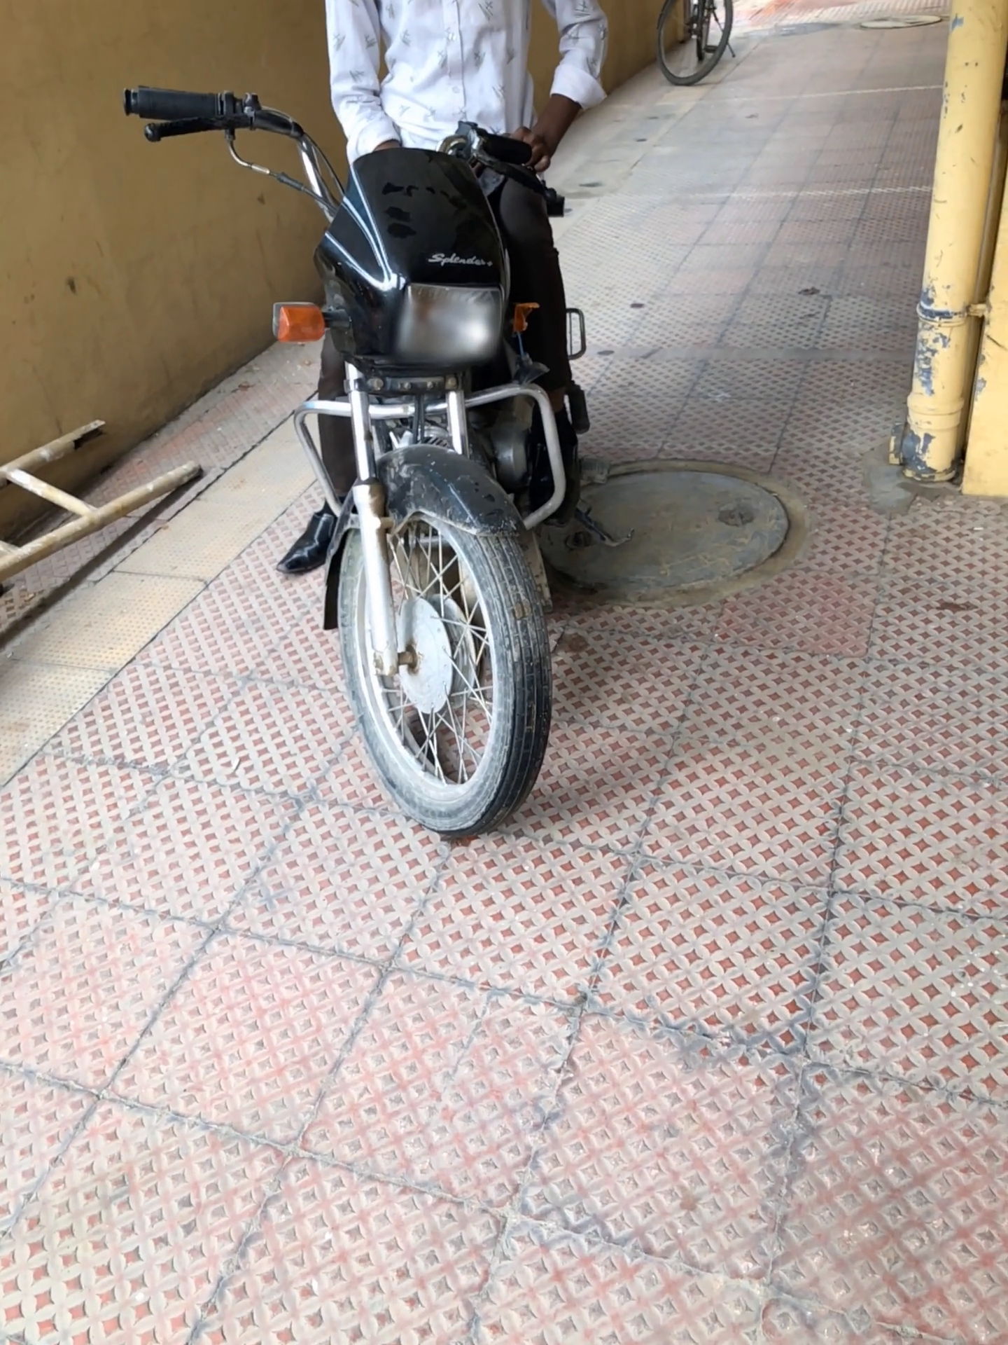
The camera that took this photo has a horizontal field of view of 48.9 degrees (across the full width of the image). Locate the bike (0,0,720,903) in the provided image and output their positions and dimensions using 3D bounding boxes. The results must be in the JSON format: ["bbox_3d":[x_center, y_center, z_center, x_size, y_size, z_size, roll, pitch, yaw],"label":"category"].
[{"bbox_3d":[-0.075,-0.566,2.009,0.759,0.974,1.607,-3,38,6],"label":"bike"}]
